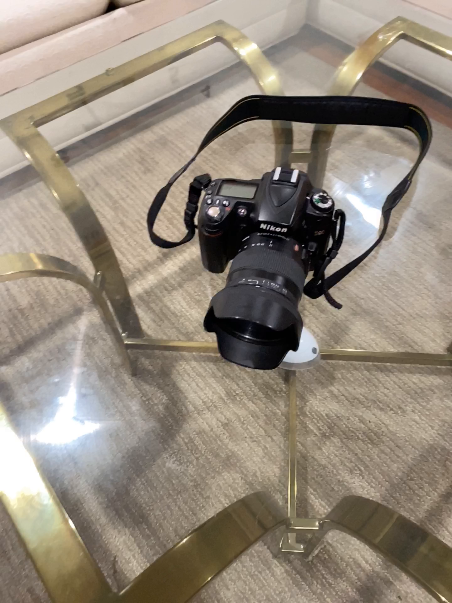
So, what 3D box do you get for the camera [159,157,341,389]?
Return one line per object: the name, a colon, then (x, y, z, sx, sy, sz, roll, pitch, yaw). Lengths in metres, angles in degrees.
camera: (0.032, -0.031, 0.464, 0.130, 0.120, 0.181, 10, 56, 9)
